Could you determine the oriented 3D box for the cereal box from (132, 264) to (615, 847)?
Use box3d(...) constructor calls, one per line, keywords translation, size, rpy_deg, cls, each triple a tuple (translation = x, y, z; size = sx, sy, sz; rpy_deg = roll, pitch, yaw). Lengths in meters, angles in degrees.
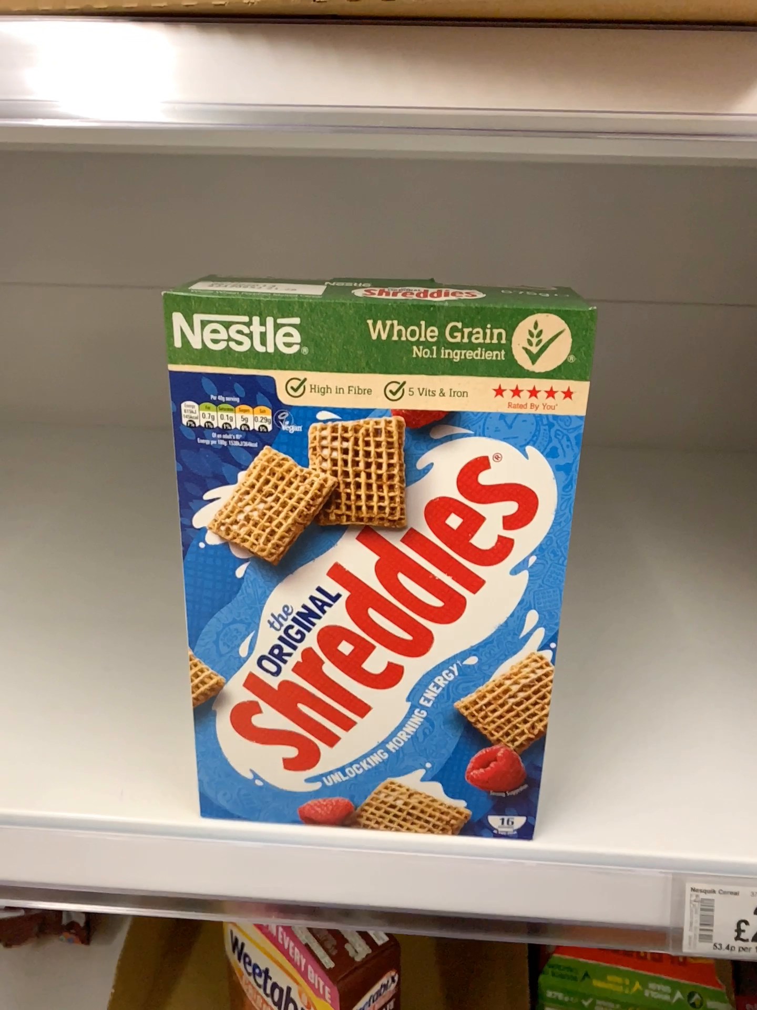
box3d(translation=(-0.004, 0.030, 0.413), size=(0.200, 0.288, 0.081), rpy_deg=(3, 22, 4), cls="cereal box")
